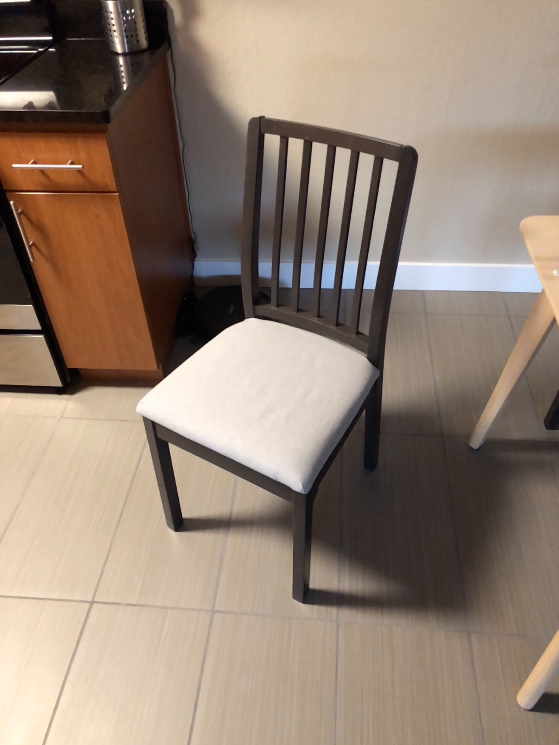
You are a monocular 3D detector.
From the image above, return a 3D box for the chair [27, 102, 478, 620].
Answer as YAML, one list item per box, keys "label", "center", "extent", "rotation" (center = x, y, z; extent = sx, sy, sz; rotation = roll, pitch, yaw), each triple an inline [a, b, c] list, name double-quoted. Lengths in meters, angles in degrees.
- label: "chair"
  center: [-0.013, -0.038, 1.383]
  extent: [0.581, 0.846, 0.592]
  rotation: [21, 46, 24]
